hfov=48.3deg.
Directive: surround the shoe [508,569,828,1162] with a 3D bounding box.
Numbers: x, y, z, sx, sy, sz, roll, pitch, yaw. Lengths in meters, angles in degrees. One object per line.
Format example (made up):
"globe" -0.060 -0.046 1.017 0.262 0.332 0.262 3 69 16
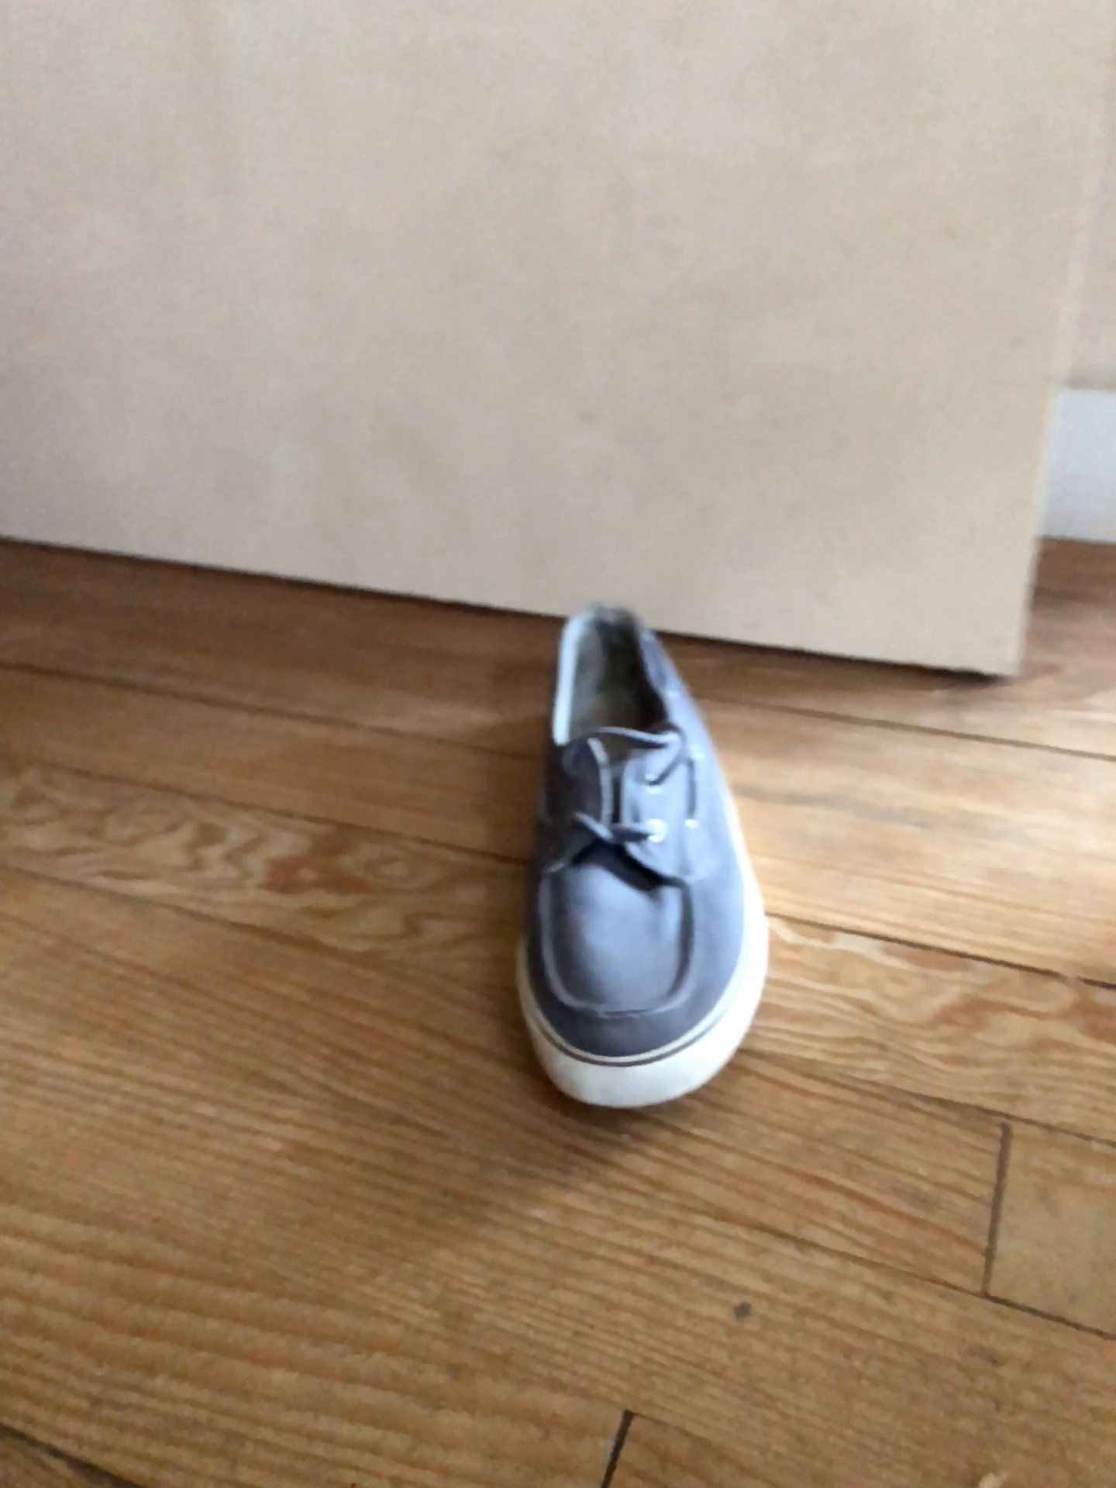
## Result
"shoe" 0.033 0.030 0.512 0.100 0.060 0.271 -5 39 2
